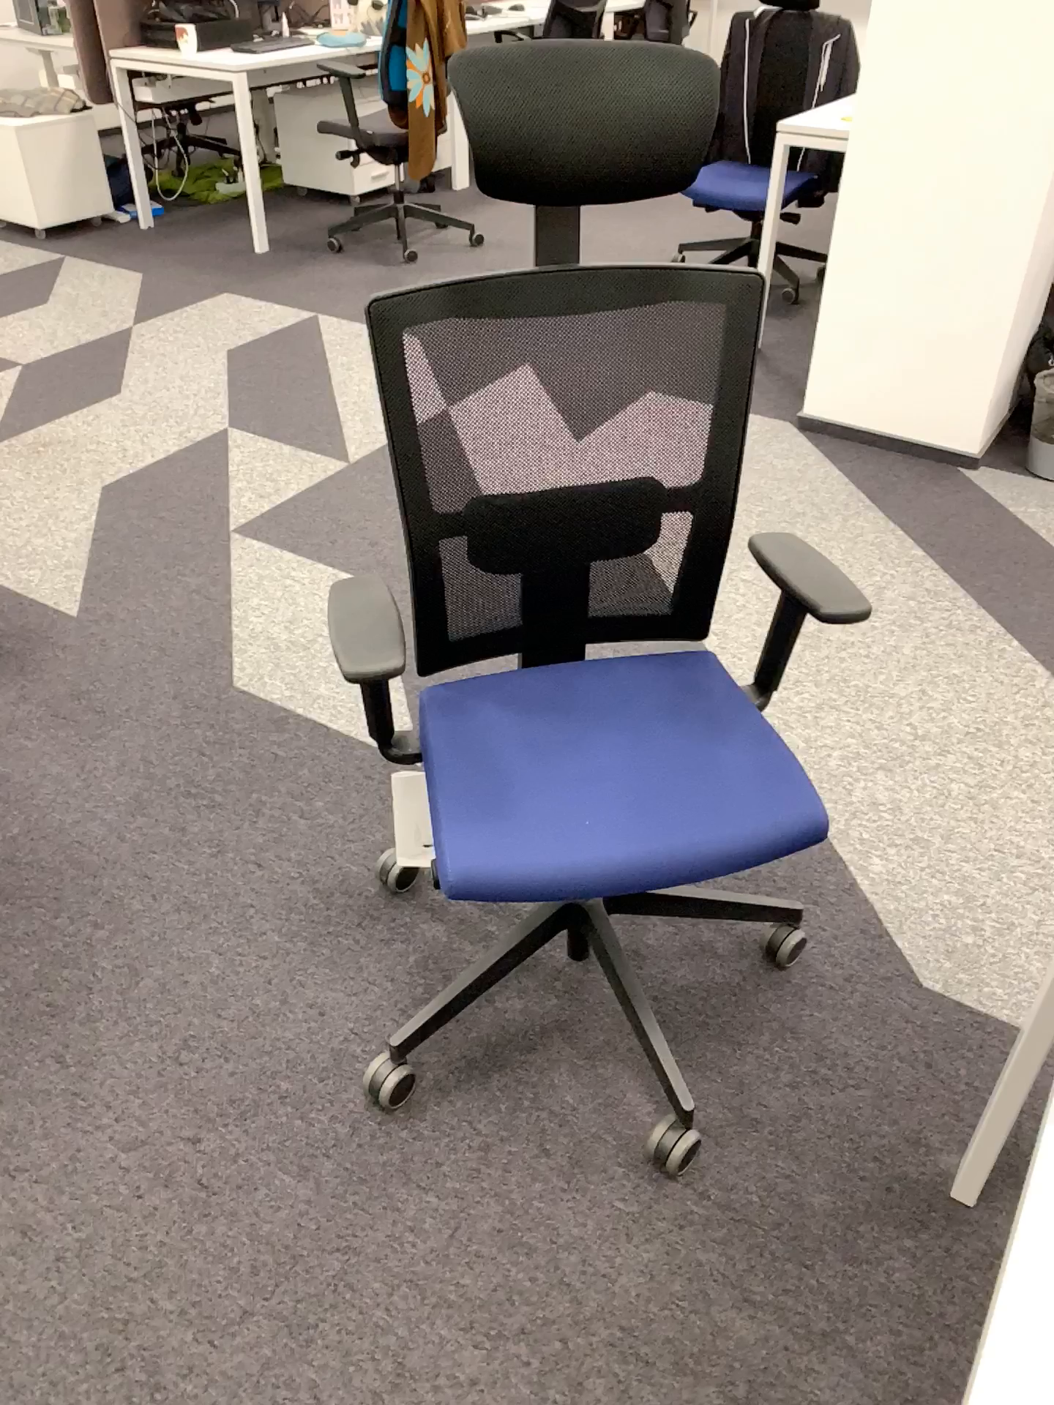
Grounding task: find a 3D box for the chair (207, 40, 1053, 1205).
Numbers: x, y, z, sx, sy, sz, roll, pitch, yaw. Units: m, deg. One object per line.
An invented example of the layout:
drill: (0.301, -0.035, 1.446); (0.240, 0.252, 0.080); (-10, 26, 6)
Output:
chair: (0.129, -0.058, 1.336); (0.730, 1.243, 0.674); (-3, 37, -5)
